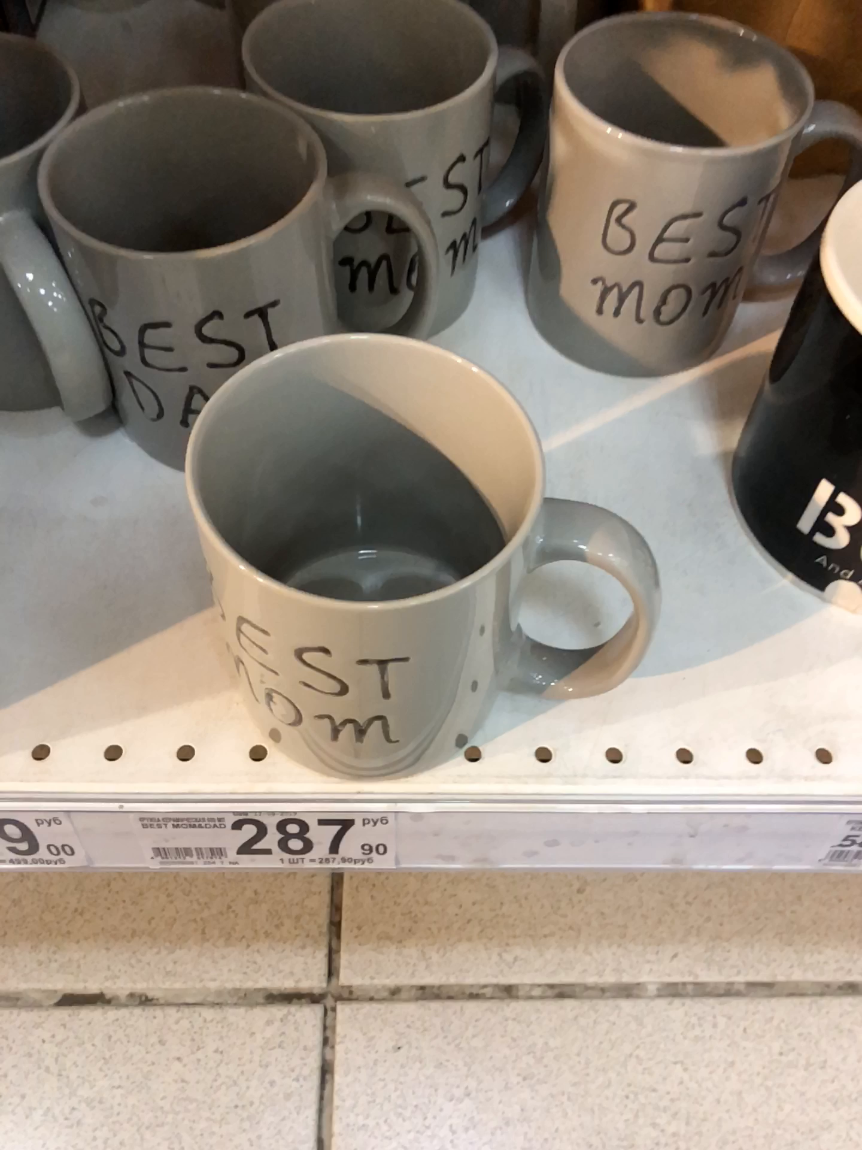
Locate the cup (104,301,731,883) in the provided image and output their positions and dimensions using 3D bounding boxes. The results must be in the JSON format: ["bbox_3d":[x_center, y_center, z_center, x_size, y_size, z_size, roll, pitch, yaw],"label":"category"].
[{"bbox_3d":[0.002,0.007,0.301,0.143,0.121,0.101,14,54,10],"label":"cup"}]
